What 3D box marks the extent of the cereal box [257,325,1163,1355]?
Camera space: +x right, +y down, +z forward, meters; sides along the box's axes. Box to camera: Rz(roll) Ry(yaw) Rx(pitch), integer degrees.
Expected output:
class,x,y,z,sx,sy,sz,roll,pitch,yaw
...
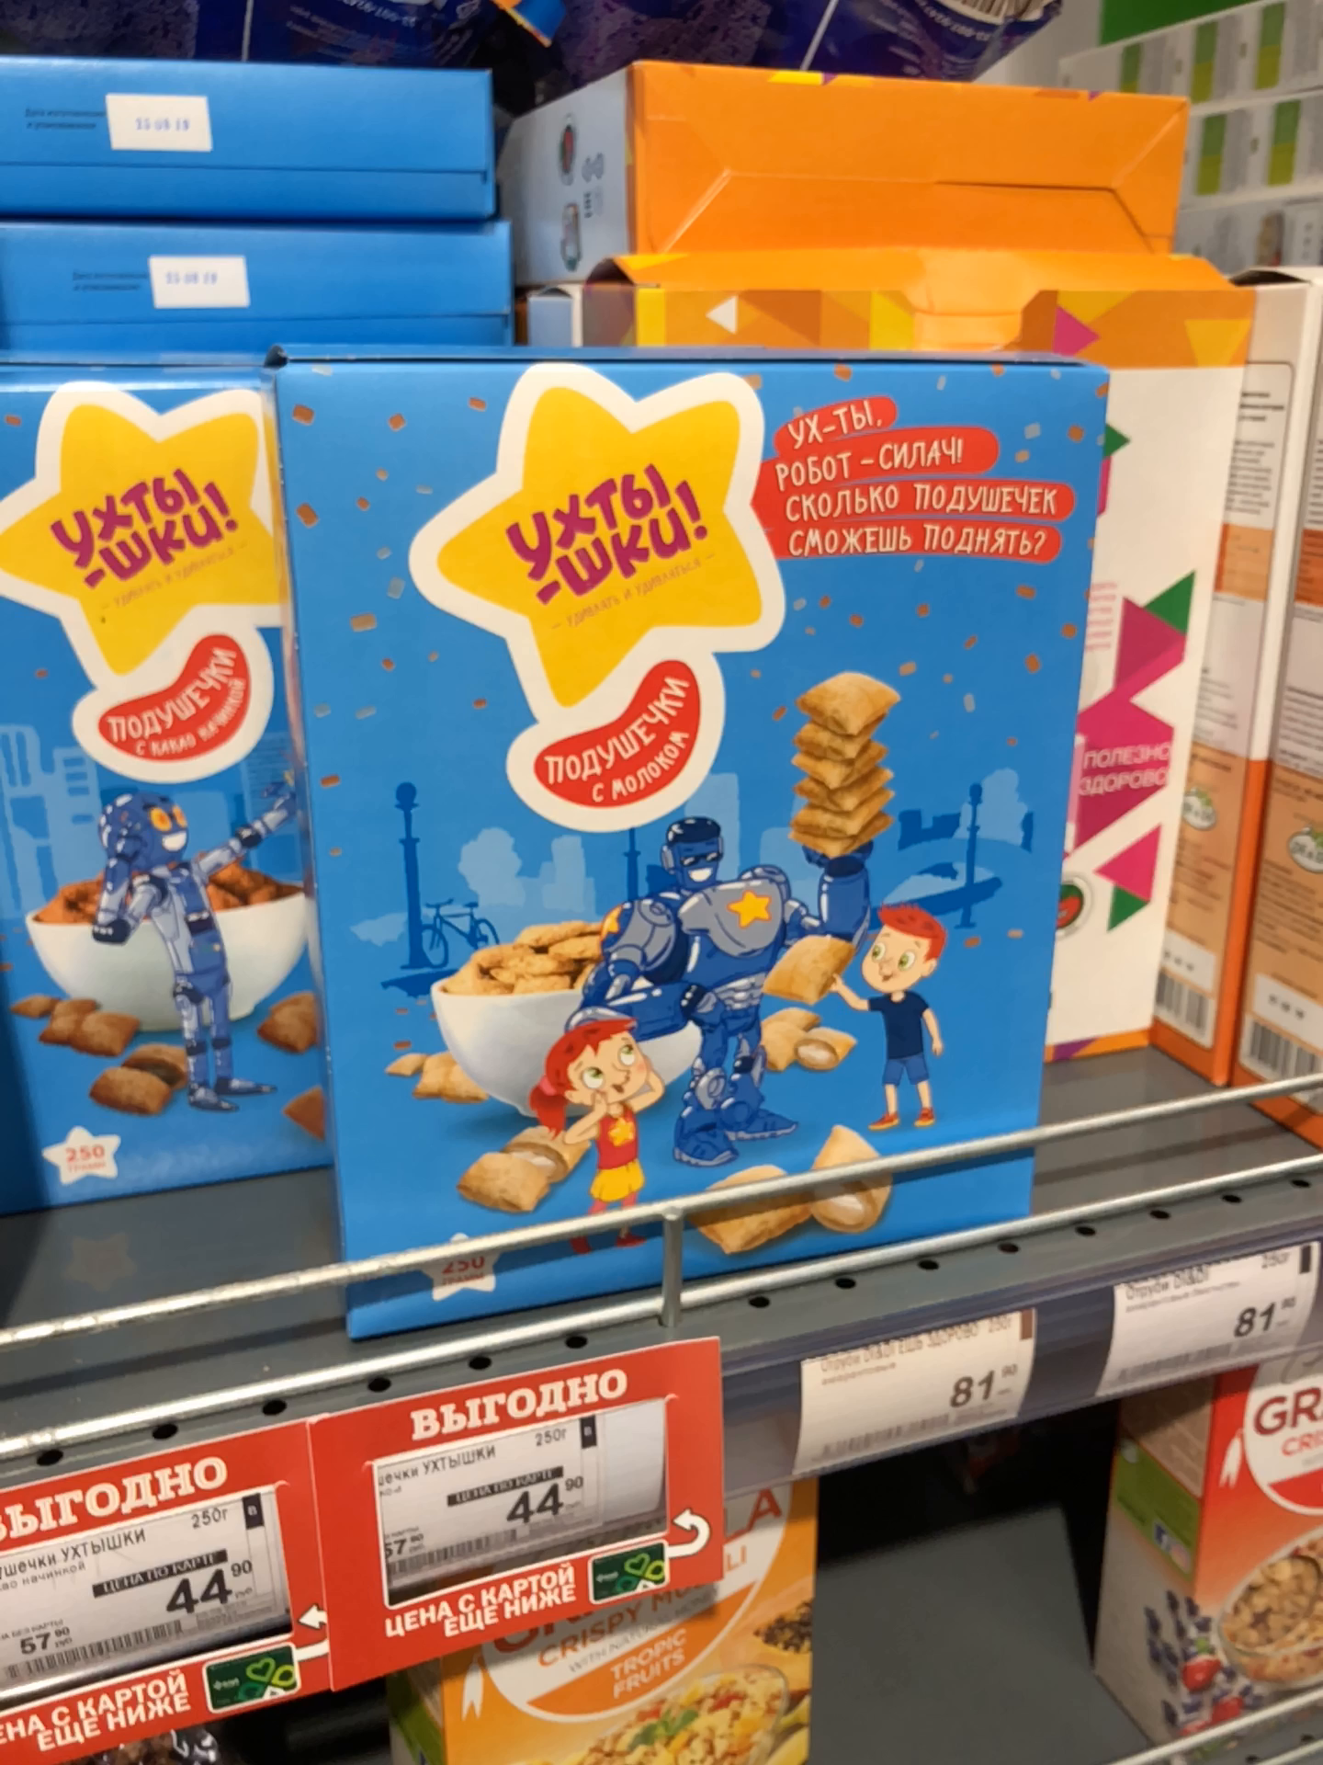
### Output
class,x,y,z,sx,sy,sz,roll,pitch,yaw
cereal box,0.013,-0.014,0.375,0.200,0.239,0.050,-6,20,-15
